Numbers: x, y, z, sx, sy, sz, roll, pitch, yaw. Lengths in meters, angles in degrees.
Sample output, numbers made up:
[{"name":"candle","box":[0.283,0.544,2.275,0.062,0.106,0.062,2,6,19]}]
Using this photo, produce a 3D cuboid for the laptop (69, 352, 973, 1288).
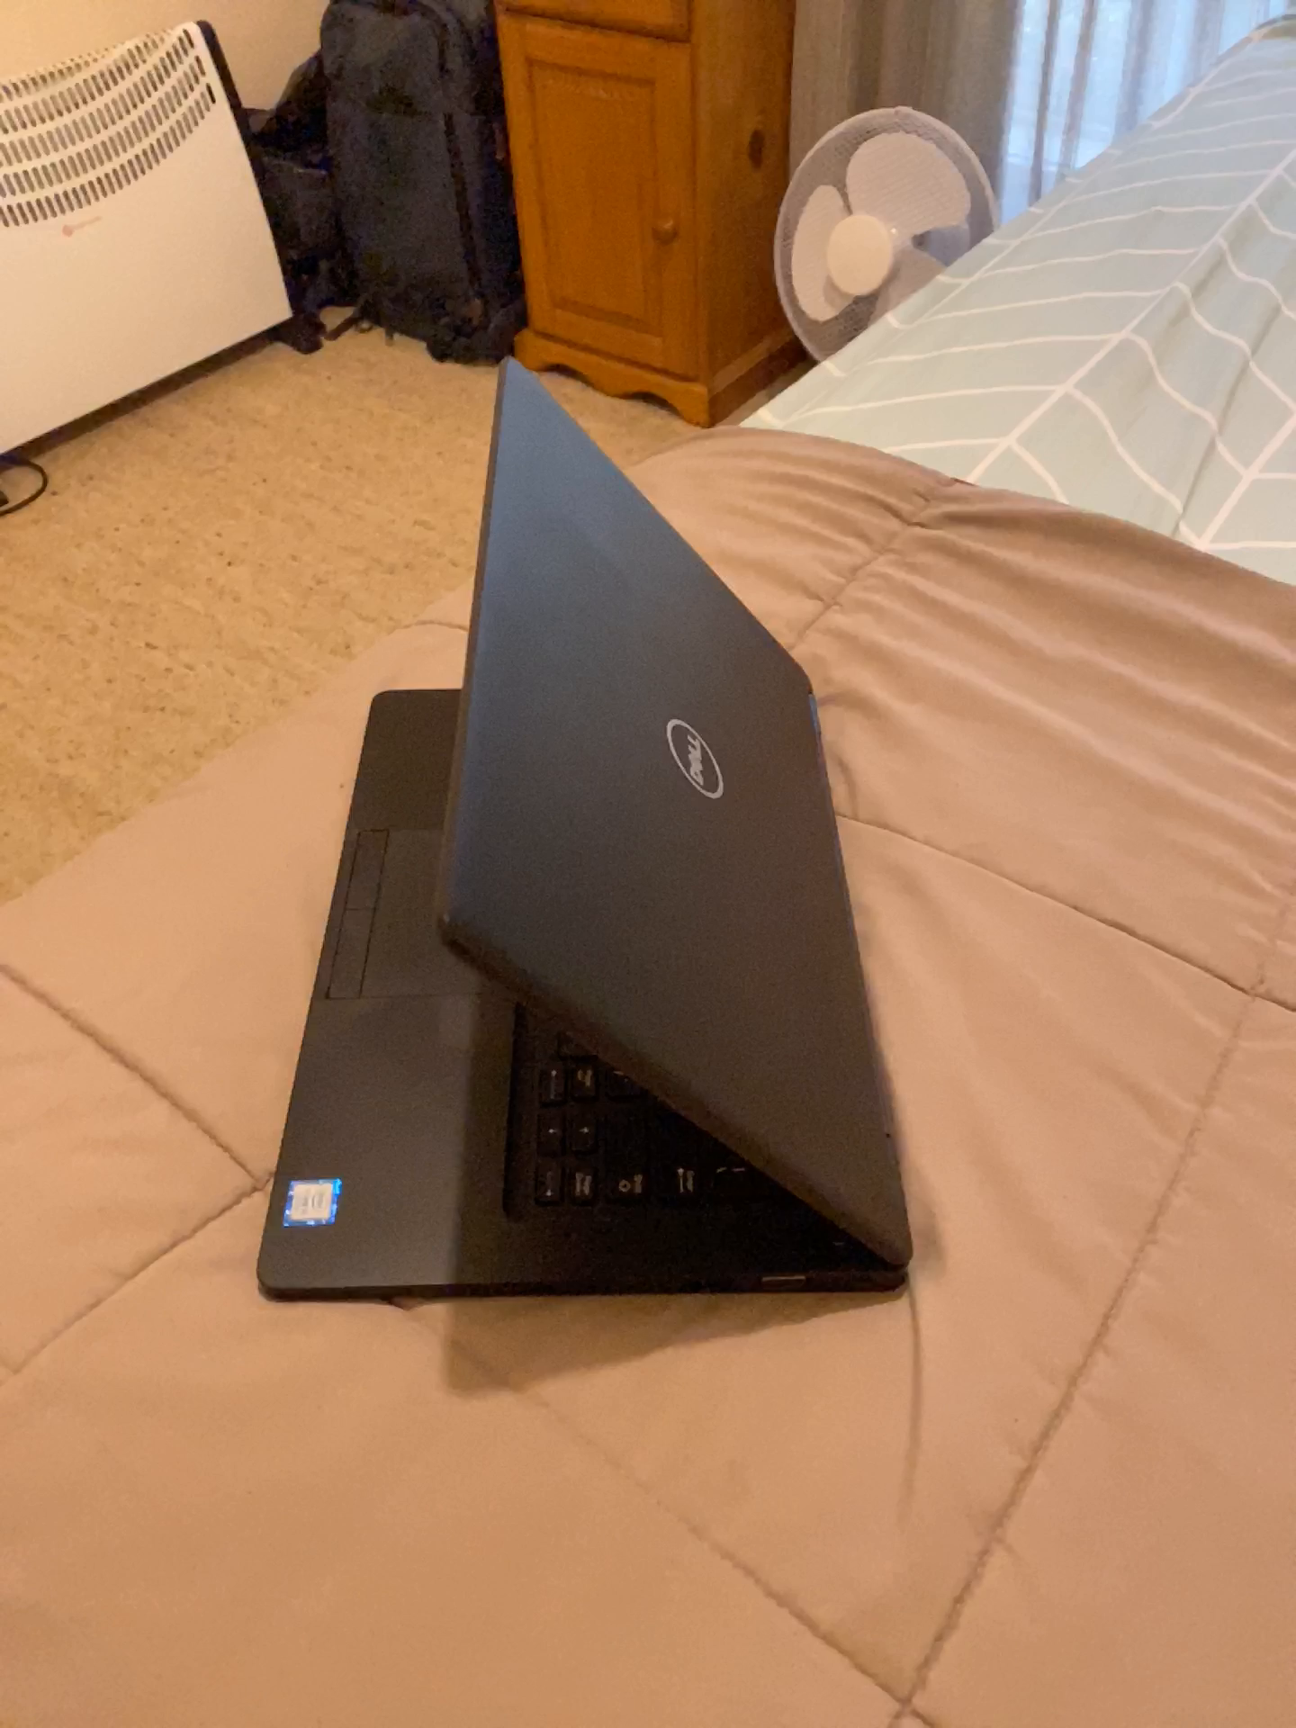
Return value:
[{"name":"laptop","box":[-0.032,-0.036,0.516,0.226,0.183,0.336,-2,45,0]}]
